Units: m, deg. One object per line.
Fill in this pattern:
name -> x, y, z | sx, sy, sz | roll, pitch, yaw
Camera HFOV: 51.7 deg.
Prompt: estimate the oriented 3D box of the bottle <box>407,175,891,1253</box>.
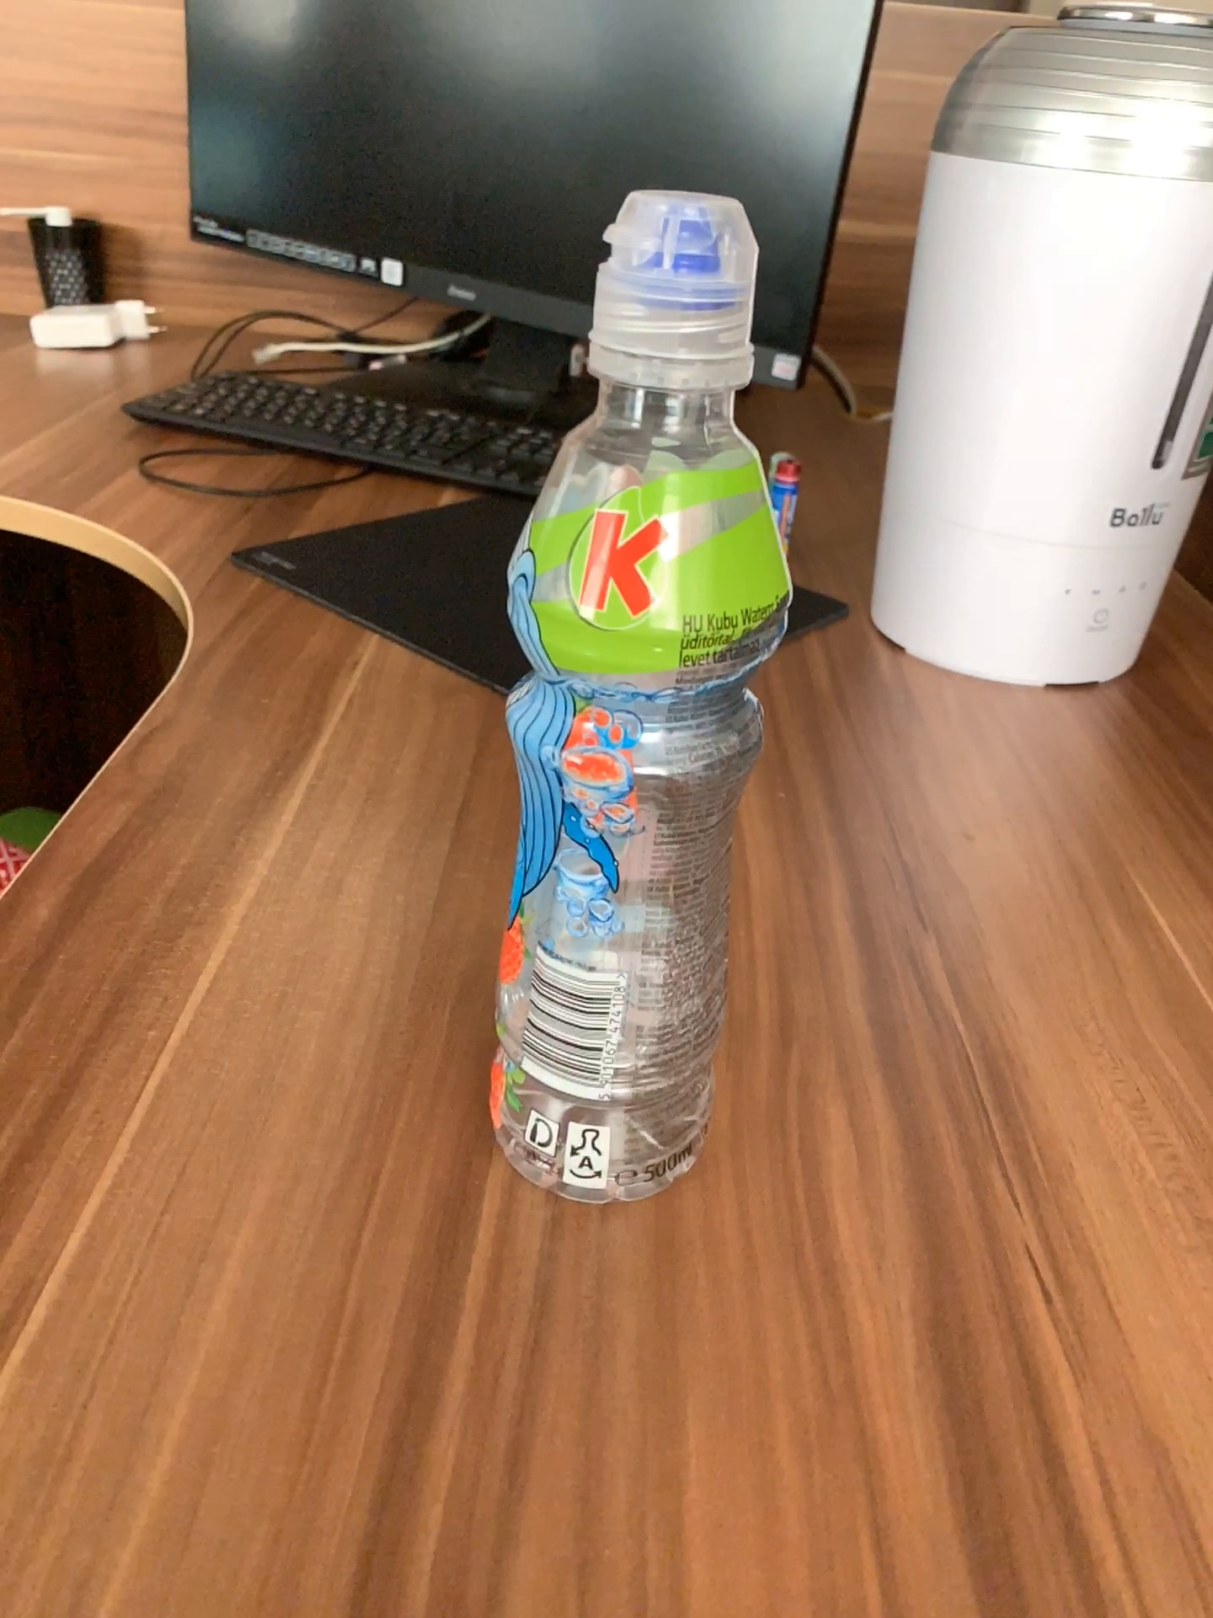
bottle -> 0.002, -0.015, 0.301 | 0.070, 0.239, 0.070 | 4, 30, -2
